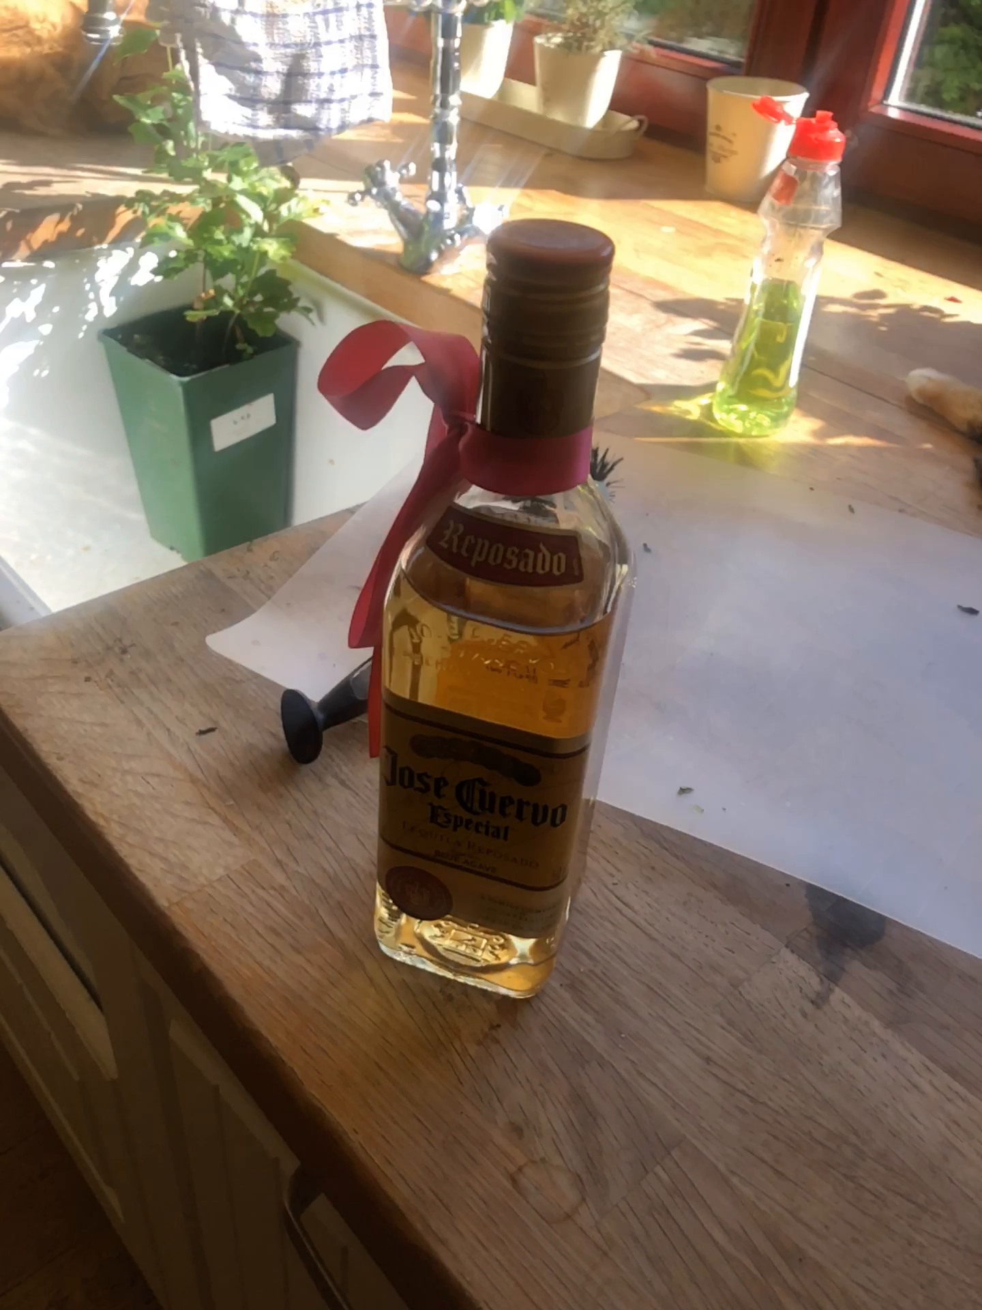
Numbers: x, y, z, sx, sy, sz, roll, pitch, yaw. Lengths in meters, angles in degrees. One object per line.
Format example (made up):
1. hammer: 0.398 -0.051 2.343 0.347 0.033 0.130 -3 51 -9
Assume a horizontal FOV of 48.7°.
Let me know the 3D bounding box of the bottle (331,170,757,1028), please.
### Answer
1. bottle: 0.006 -0.003 0.308 0.080 0.228 0.071 14 37 10
